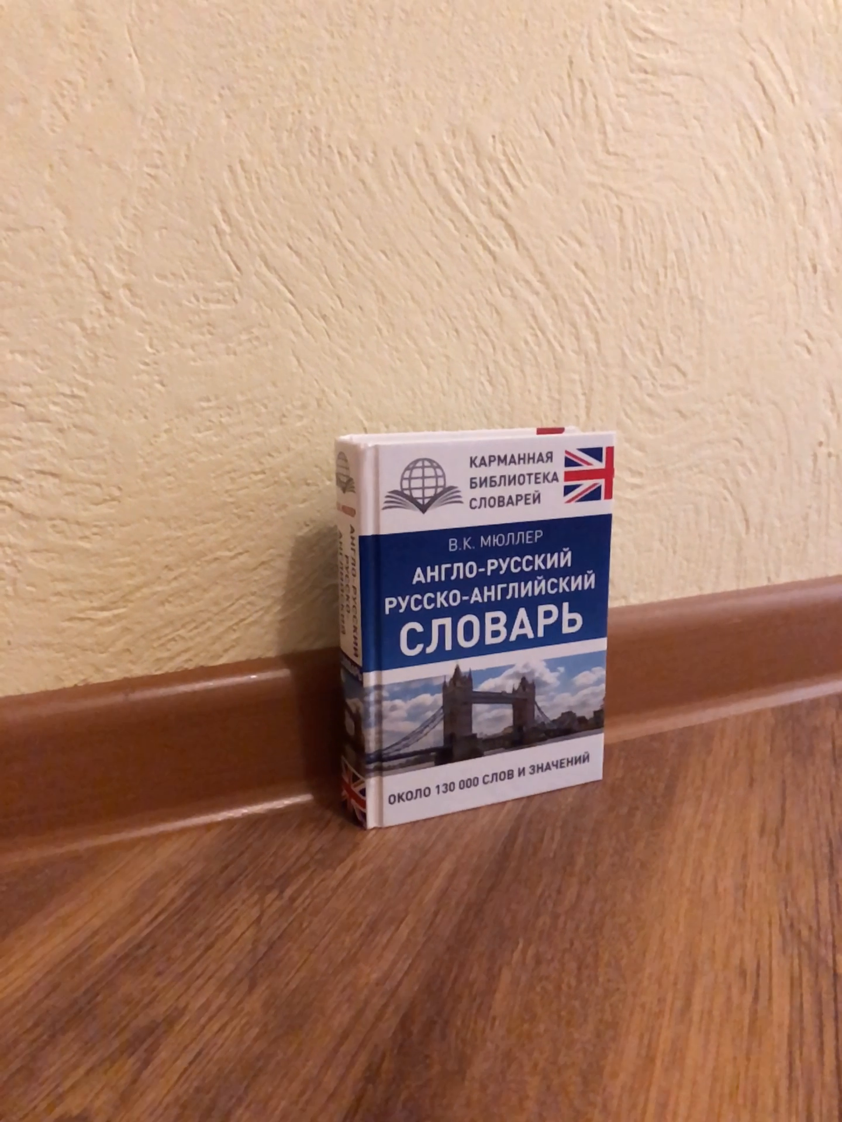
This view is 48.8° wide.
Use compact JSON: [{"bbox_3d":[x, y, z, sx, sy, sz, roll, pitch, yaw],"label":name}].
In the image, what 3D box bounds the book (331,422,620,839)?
[{"bbox_3d":[0.020,0.023,0.364,0.102,0.146,0.037,-6,15,-23],"label":"book"}]
